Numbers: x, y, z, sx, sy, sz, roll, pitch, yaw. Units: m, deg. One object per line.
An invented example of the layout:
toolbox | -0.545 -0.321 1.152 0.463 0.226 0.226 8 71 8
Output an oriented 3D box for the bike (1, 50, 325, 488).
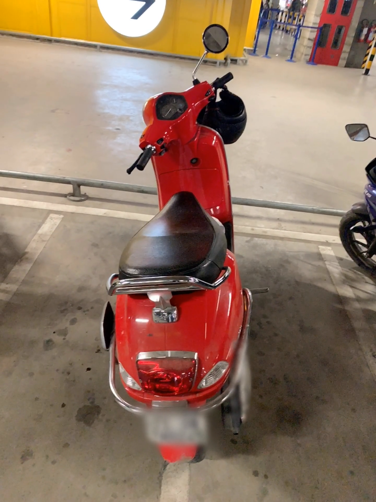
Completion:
bike | -0.160 -0.116 1.779 0.632 1.201 1.688 4 33 -6
